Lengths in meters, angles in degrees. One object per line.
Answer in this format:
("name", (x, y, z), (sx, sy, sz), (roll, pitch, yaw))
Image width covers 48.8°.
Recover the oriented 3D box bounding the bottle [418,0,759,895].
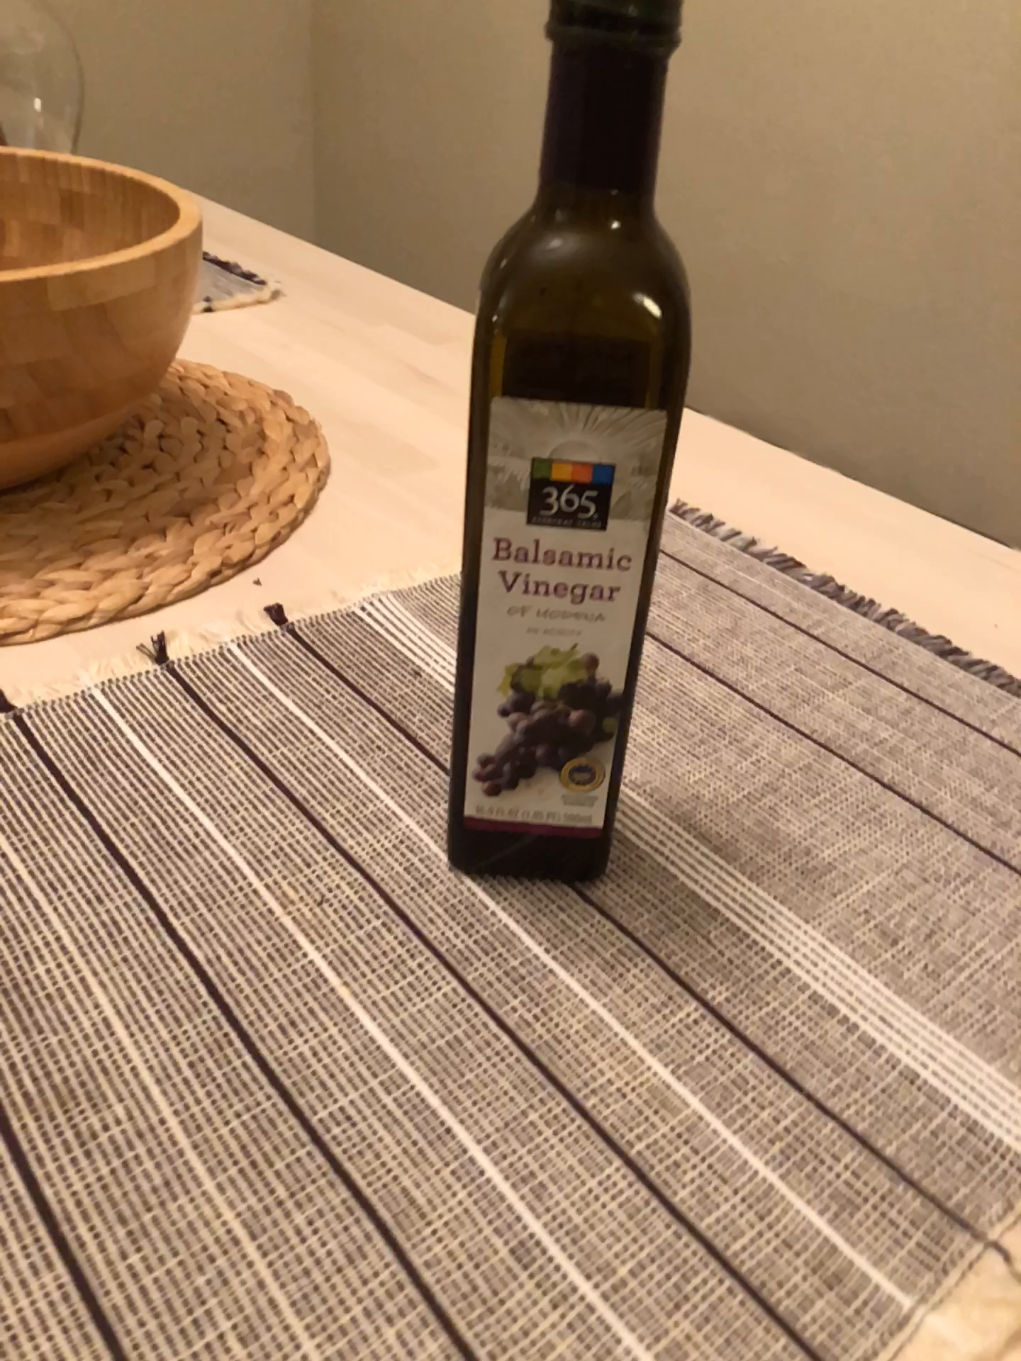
("bottle", (0.011, -0.059, 0.320), (0.060, 0.261, 0.060), (4, 33, -2))
